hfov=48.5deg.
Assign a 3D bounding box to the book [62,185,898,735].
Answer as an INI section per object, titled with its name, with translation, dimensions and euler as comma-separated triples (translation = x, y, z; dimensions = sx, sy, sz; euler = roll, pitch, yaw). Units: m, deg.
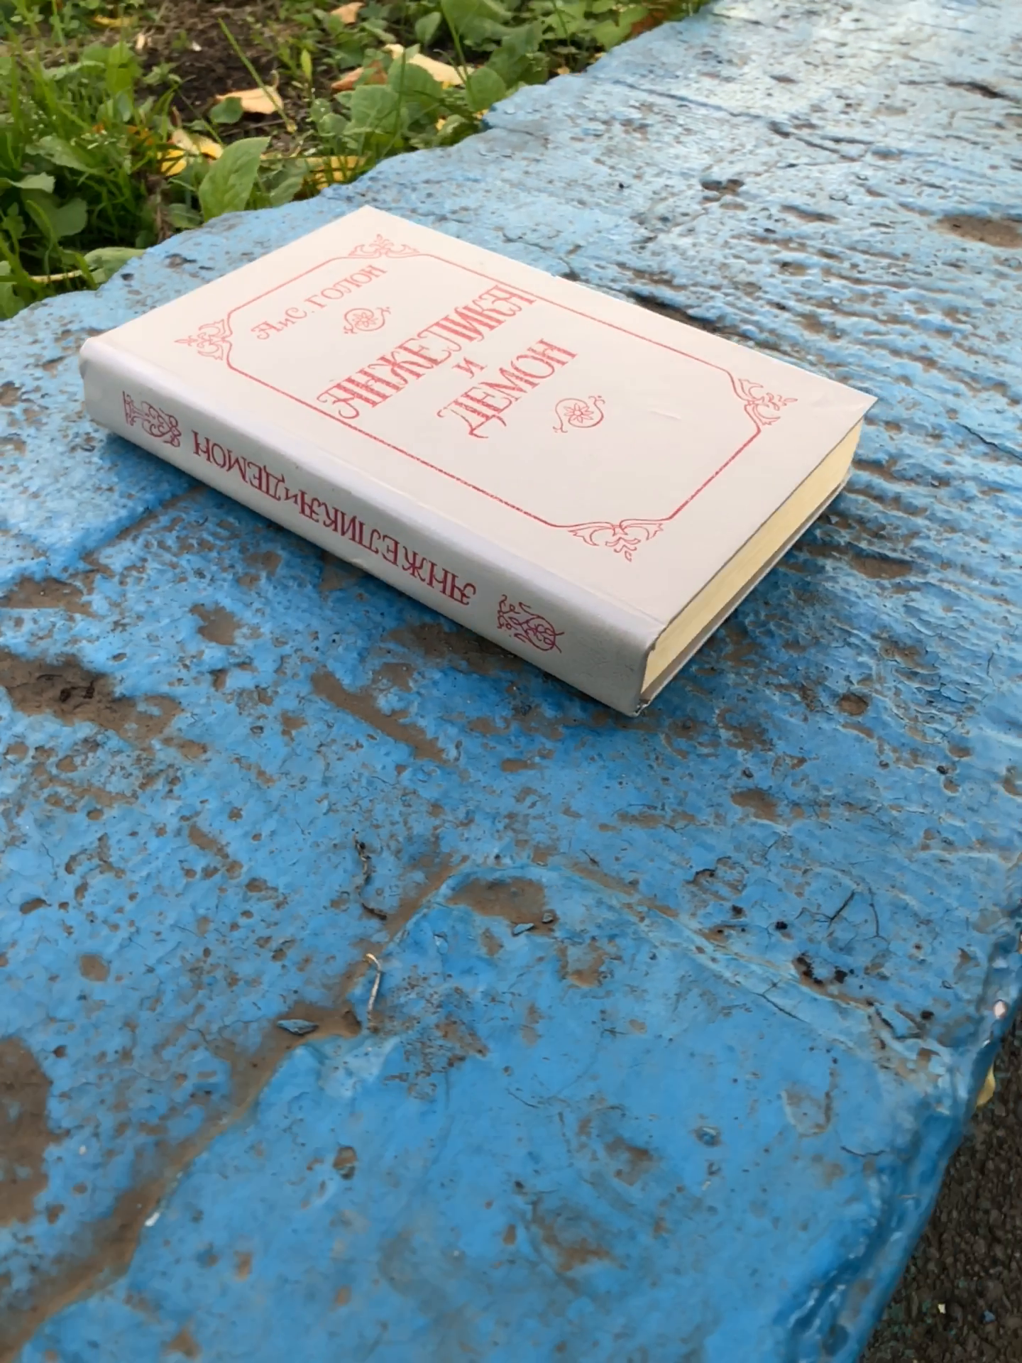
[book]
translation = -0.009, -0.086, 0.355
dimensions = 0.211, 0.032, 0.140
euler = 29, 52, 22
